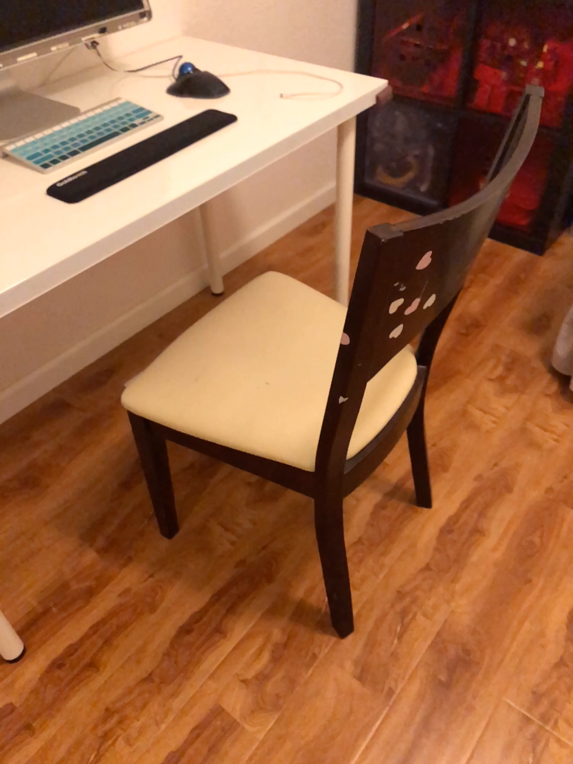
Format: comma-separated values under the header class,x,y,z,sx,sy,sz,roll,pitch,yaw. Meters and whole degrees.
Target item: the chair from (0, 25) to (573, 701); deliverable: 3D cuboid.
class,x,y,z,sx,sy,sz,roll,pitch,yaw
chair,0.004,-0.046,1.141,0.661,0.885,0.572,25,49,27
